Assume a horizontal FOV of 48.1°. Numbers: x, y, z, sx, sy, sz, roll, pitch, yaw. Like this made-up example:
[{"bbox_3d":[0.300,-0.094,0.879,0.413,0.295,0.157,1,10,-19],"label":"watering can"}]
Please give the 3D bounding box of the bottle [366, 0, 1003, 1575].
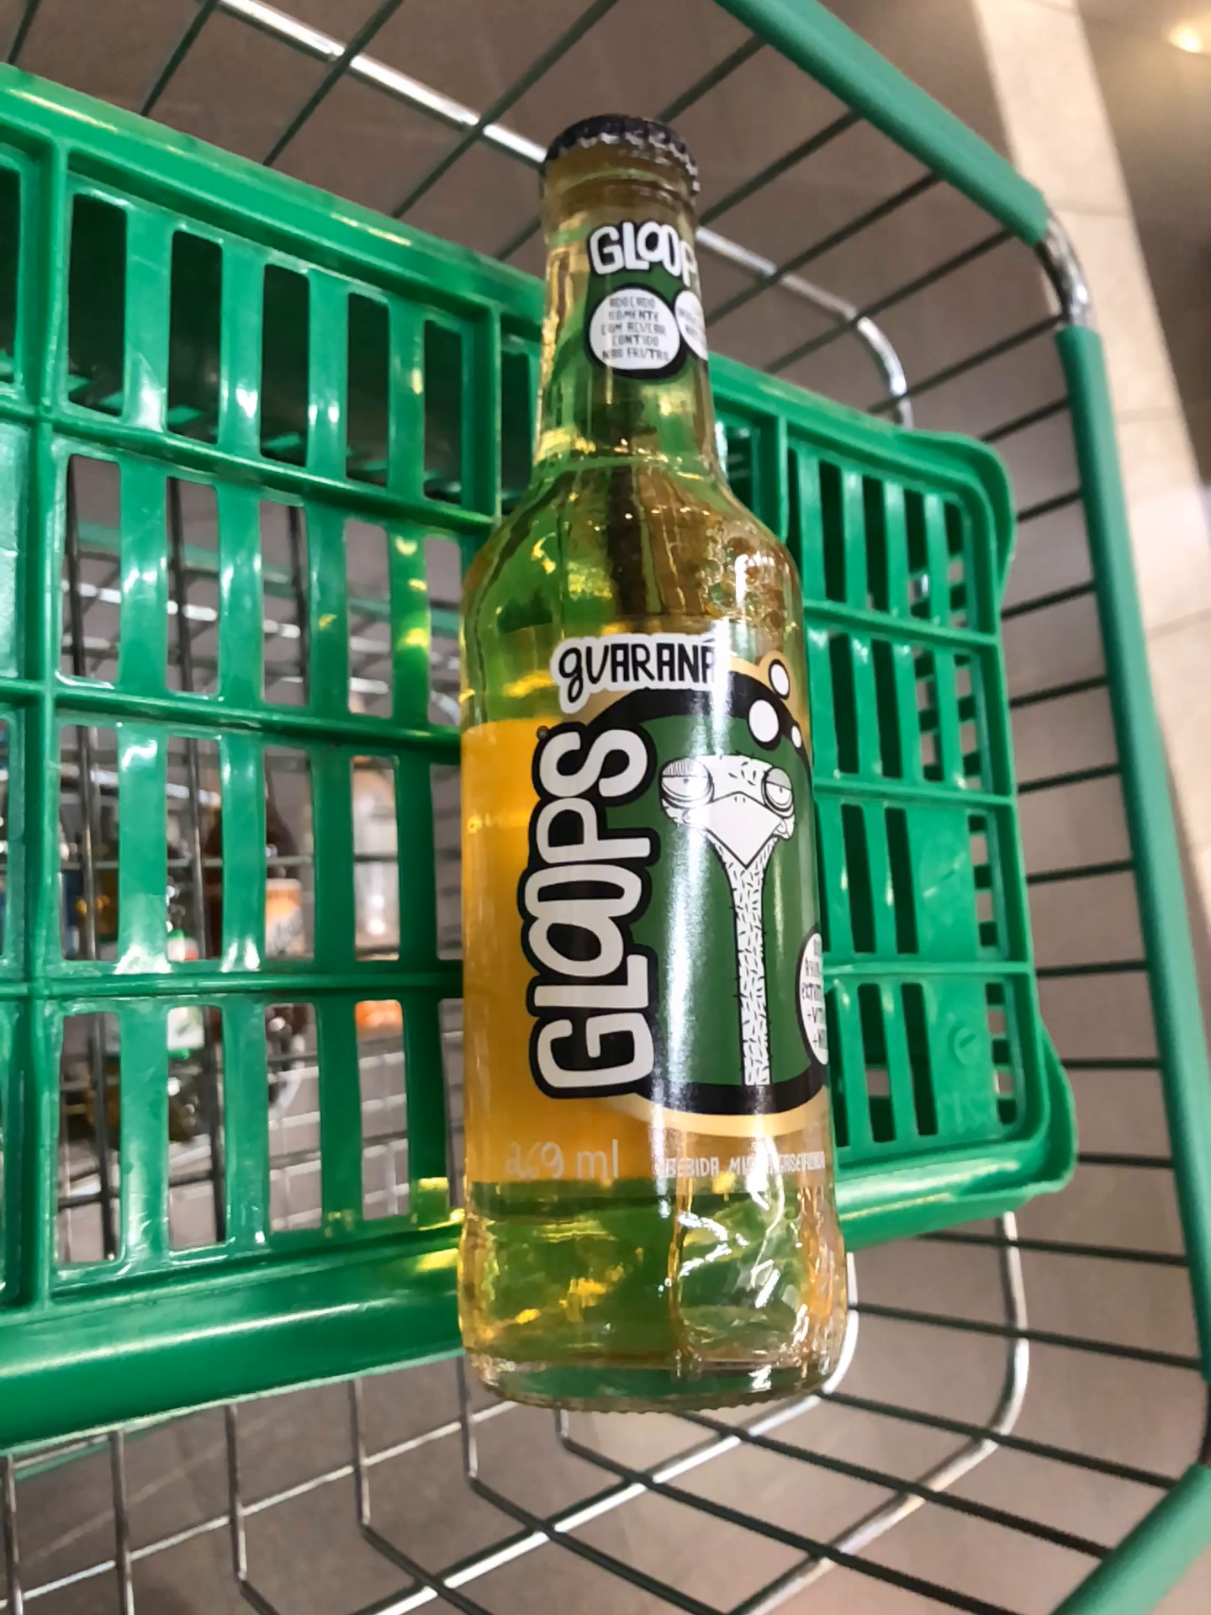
[{"bbox_3d":[0.011,-0.015,0.215,0.070,0.060,0.220,8,77,-40],"label":"bottle"}]
